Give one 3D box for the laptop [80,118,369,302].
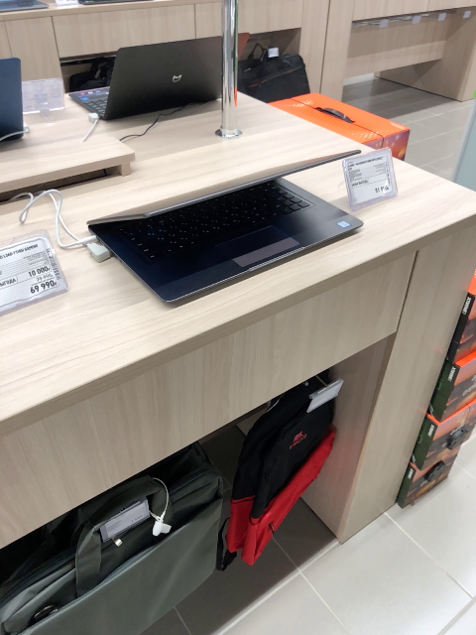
[{"bbox_3d":[-0.015,-0.179,0.768,0.345,0.099,0.221,-24,46,-29],"label":"laptop"}]
